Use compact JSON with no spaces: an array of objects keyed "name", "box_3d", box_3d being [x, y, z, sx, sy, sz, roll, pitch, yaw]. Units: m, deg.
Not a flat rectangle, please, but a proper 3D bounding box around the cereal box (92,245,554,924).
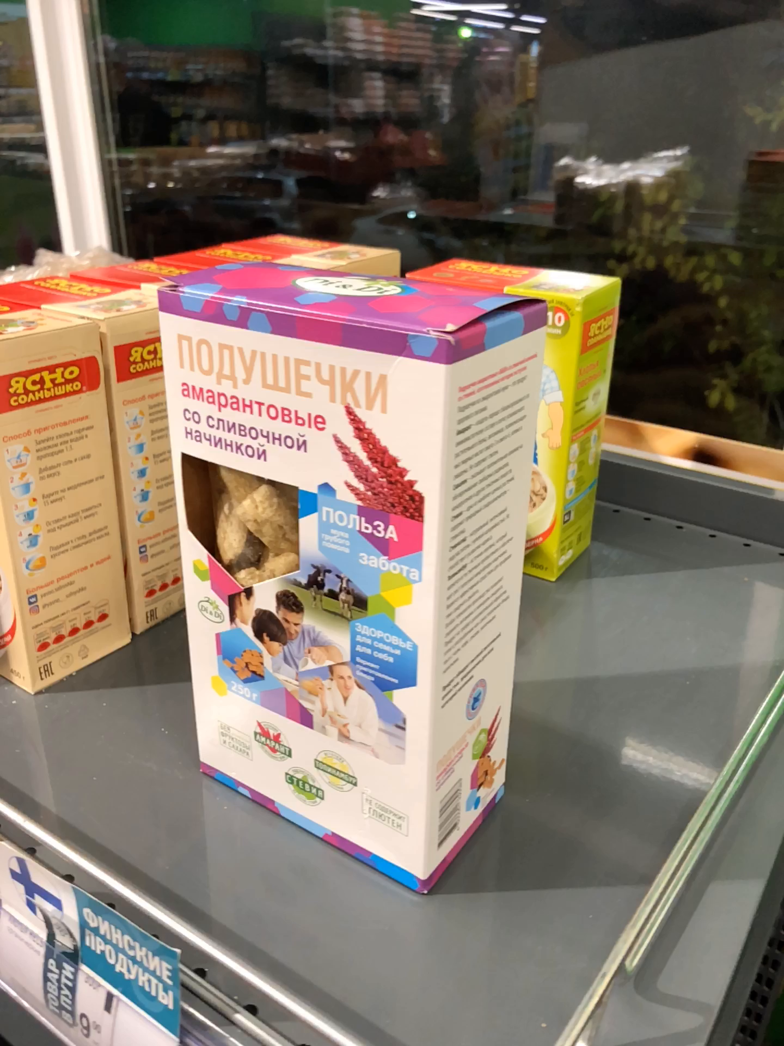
[{"name":"cereal box","box_3d":[-0.027,0.018,0.349,0.140,0.229,0.080,17,30,30]}]
